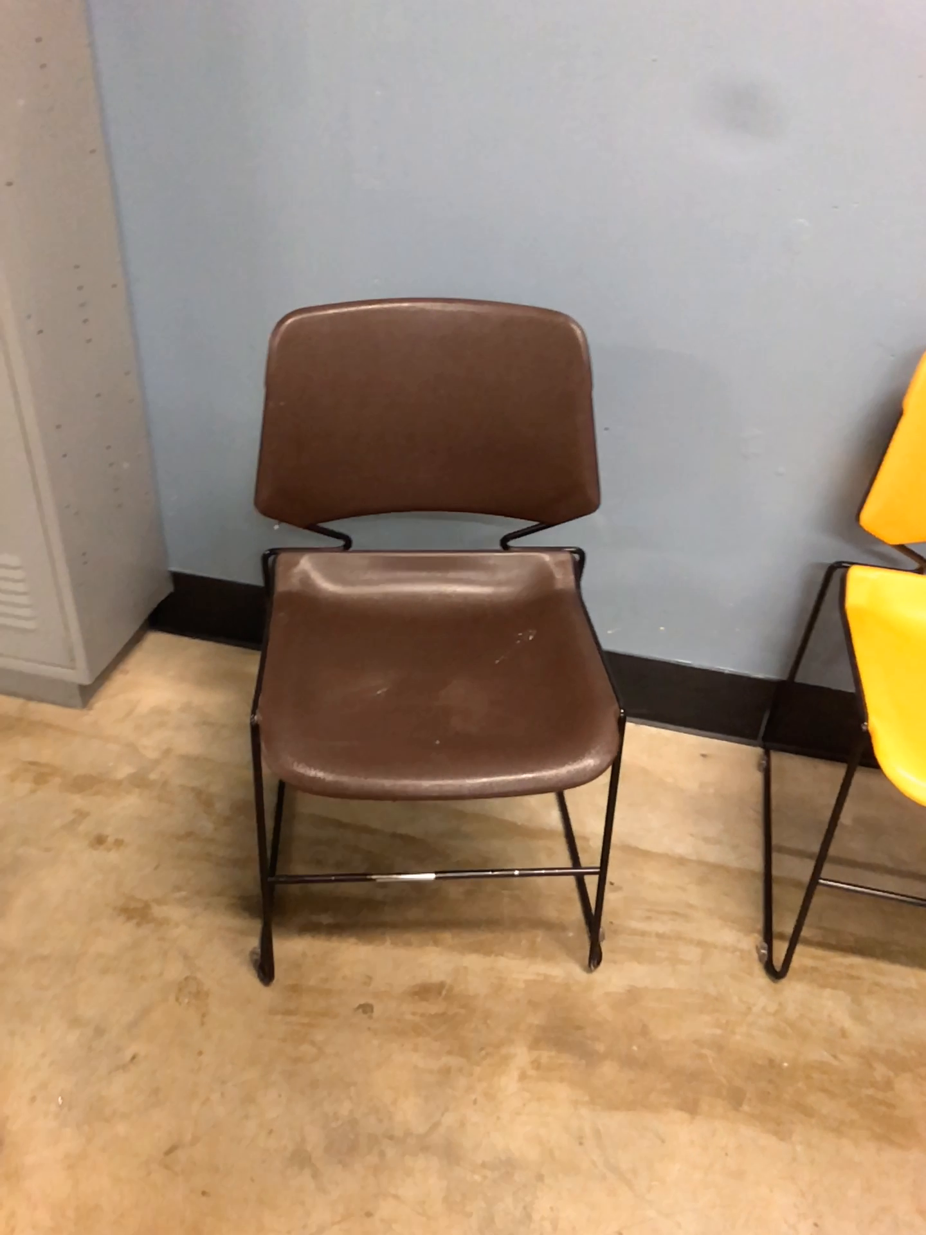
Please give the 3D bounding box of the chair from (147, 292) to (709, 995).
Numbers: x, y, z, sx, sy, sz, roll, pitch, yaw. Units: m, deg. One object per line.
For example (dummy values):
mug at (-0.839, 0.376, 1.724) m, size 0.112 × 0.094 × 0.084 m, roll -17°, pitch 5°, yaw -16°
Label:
chair at (-0.065, 0.028, 1.369) m, size 0.516 × 0.751 × 0.548 m, roll -1°, pitch 36°, yaw -6°
